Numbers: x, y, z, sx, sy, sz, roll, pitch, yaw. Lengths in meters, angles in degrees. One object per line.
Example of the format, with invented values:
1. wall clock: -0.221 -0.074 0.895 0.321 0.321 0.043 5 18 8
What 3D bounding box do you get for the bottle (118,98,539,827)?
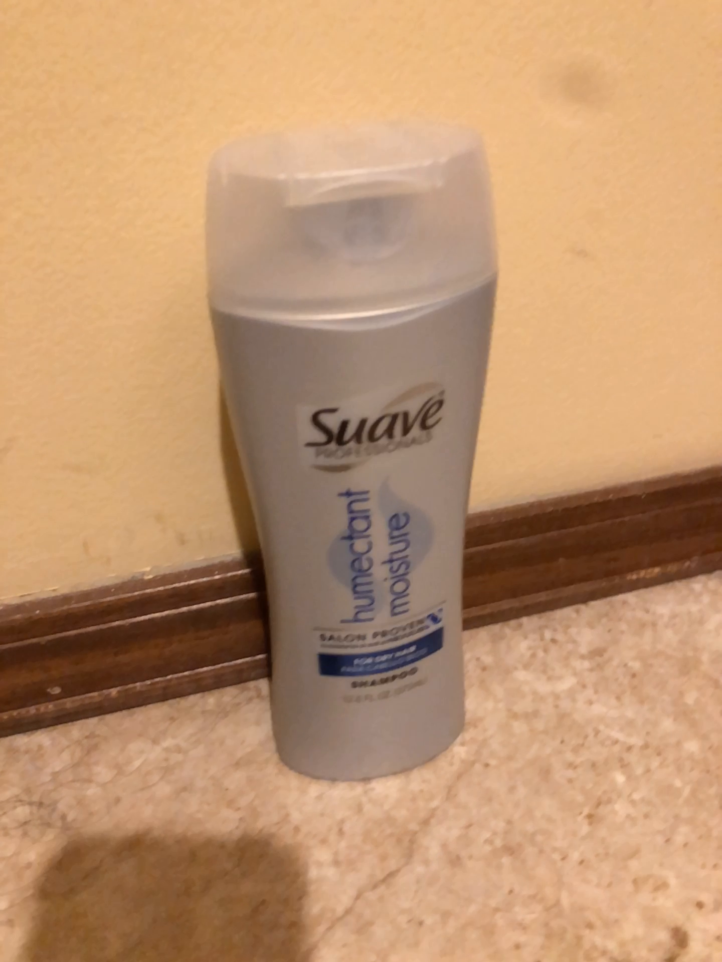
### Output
1. bottle: -0.007 0.011 0.234 0.080 0.209 0.050 -11 38 -12
